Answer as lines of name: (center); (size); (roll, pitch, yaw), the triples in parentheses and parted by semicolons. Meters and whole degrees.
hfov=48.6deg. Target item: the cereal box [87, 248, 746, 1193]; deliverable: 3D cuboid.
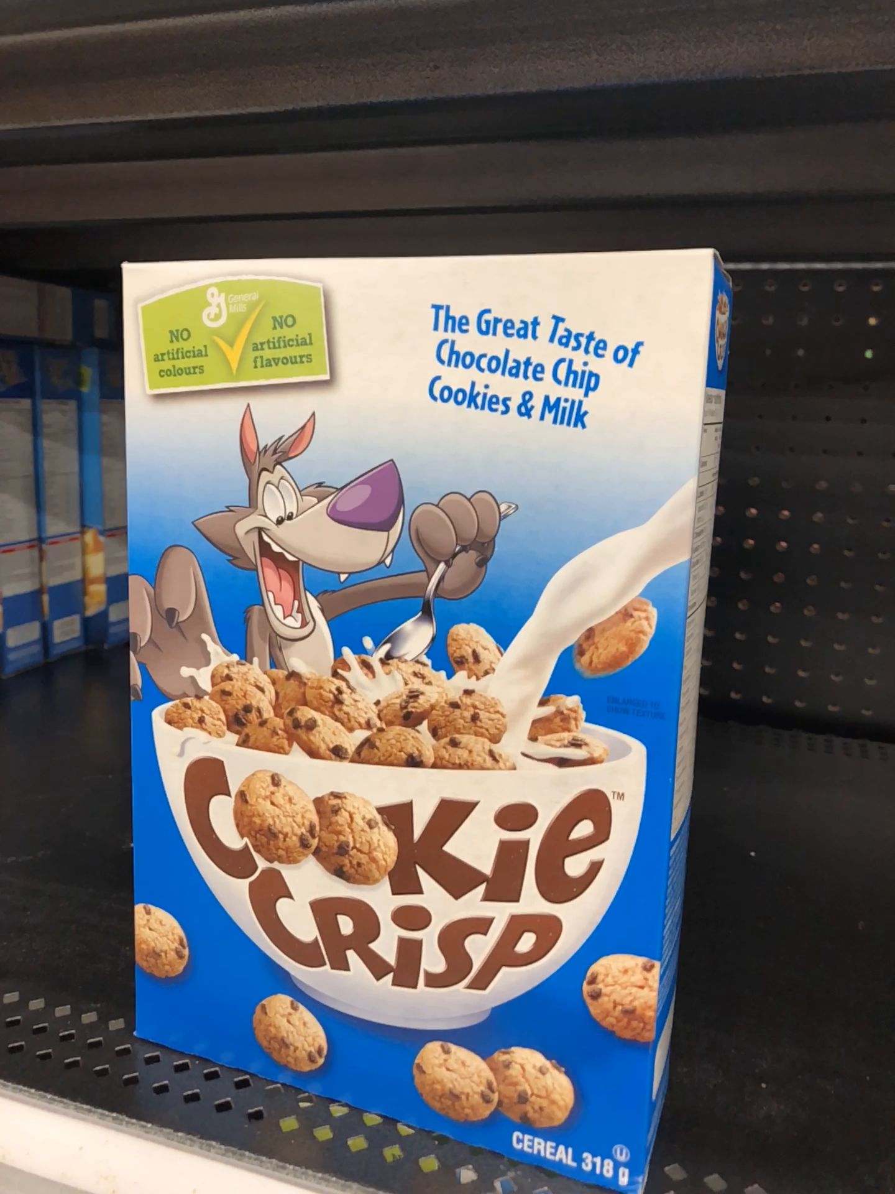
cereal box: (-0.017, 0.035, 0.336); (0.200, 0.279, 0.060); (6, 11, 21)
